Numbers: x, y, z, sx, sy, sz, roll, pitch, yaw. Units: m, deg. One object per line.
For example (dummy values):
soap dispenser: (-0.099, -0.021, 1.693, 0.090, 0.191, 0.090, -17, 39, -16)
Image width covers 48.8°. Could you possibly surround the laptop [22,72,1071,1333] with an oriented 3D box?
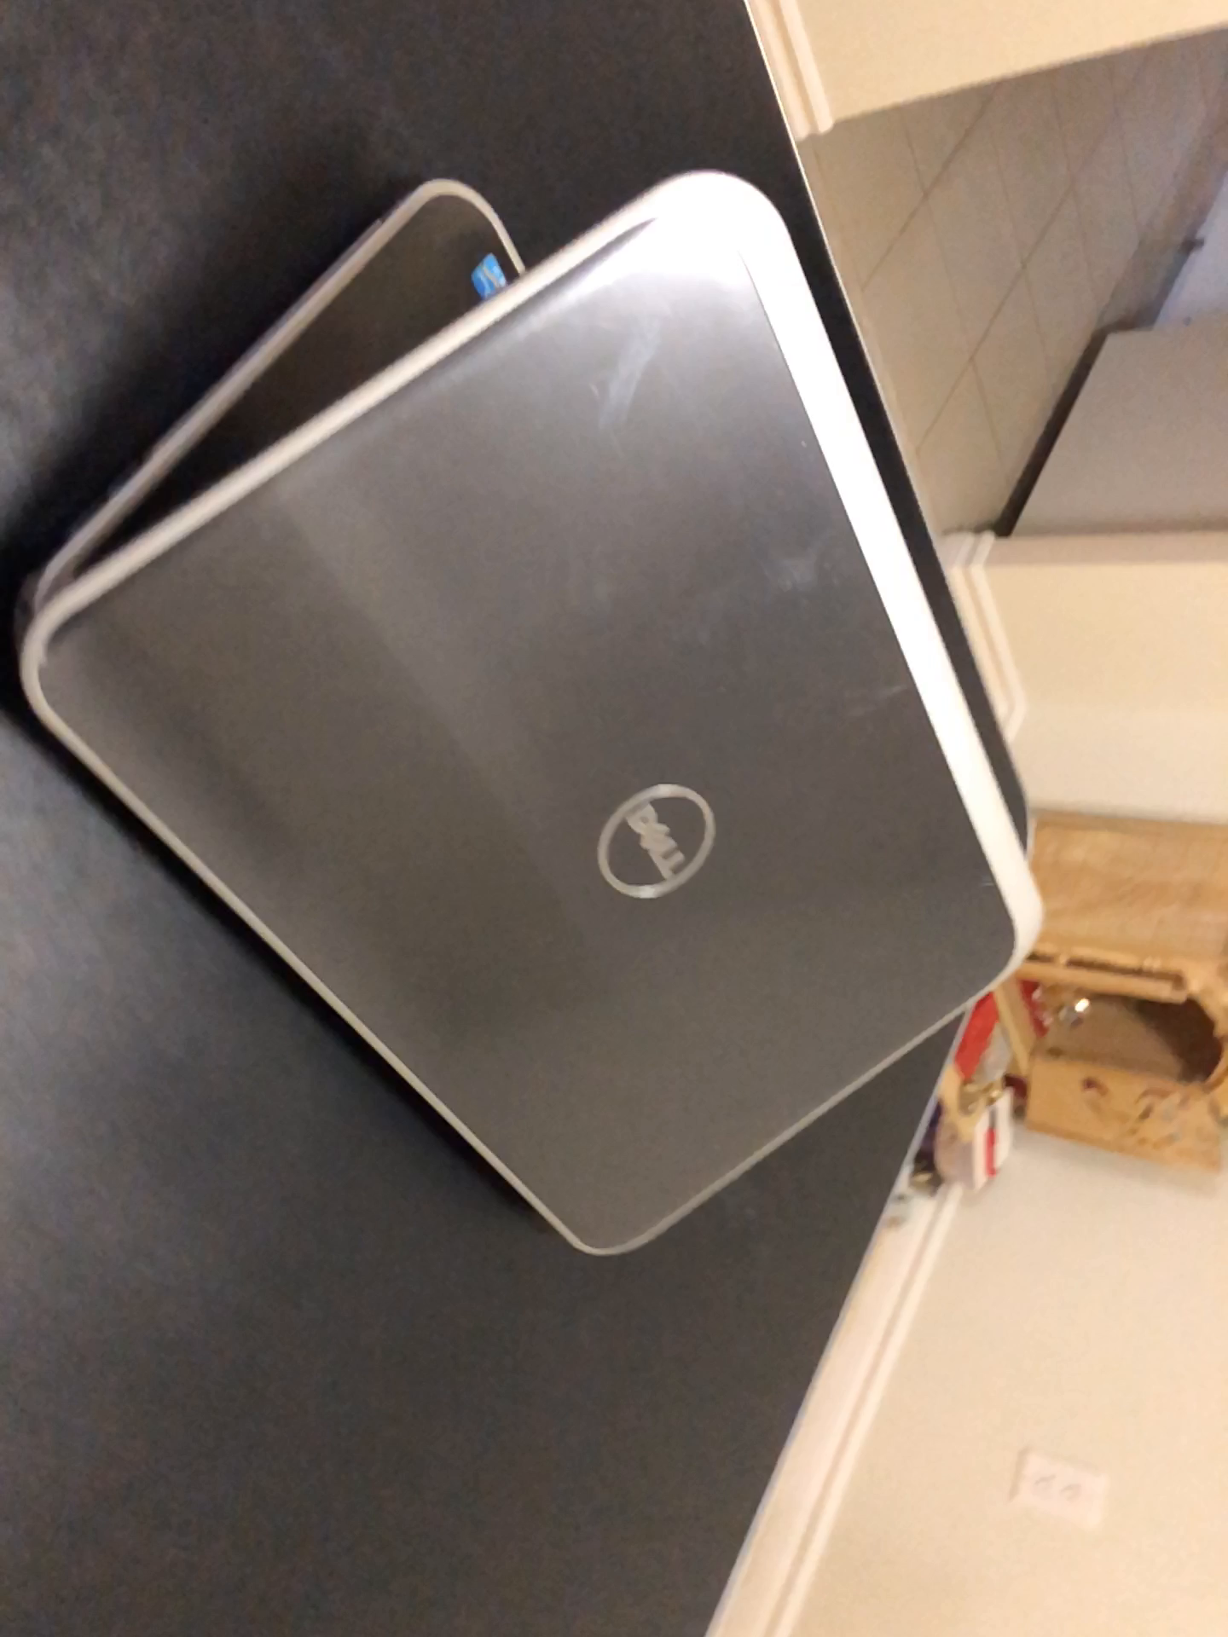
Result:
laptop: (0.024, -0.018, 0.496, 0.240, 0.137, 0.357, -59, 135, -27)
